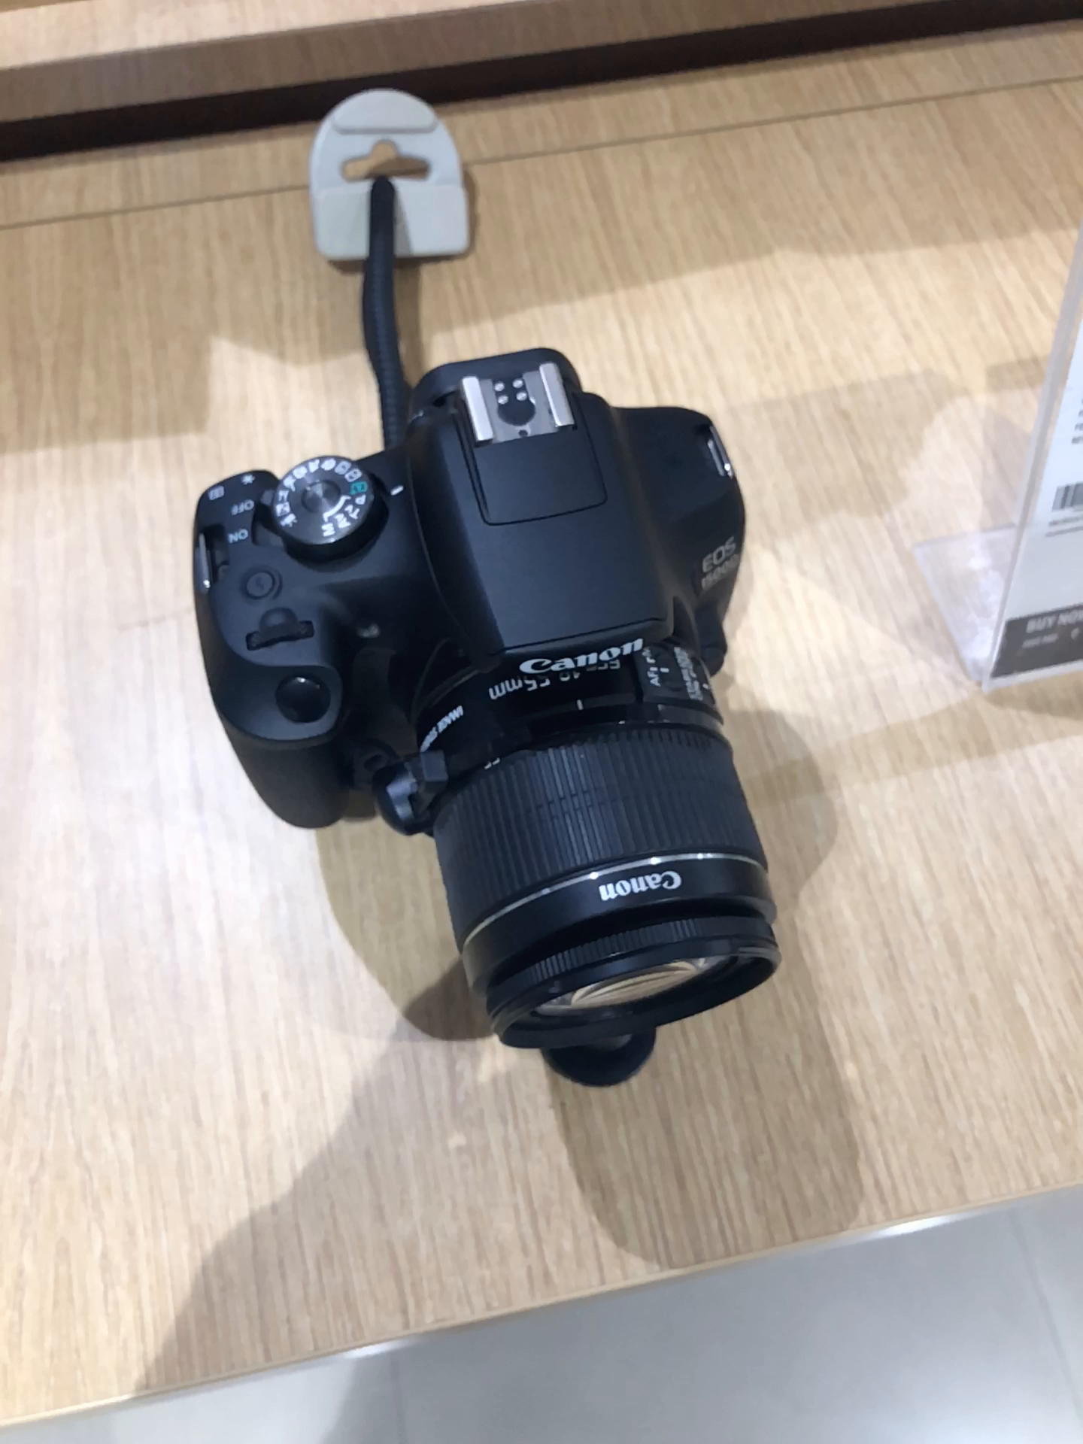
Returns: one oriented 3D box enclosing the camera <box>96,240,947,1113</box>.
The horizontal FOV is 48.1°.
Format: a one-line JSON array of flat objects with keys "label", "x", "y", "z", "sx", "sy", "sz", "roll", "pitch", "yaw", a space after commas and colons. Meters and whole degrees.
[{"label": "camera", "x": -0.013, "y": -0.009, "z": 0.258, "sx": 0.130, "sy": 0.090, "sz": 0.140, "roll": -10, "pitch": 63, "yaw": -5}]
